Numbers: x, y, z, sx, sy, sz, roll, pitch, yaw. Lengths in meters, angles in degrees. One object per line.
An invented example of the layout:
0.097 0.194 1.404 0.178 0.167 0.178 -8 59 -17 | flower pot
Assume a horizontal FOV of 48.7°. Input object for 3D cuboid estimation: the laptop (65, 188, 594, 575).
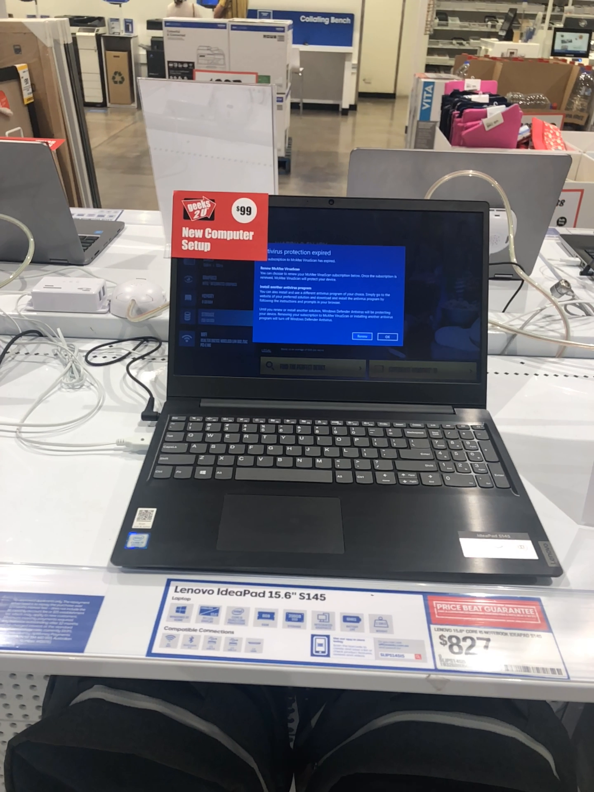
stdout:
0.027 -0.045 0.621 0.353 0.192 0.370 2 32 -1 | laptop
